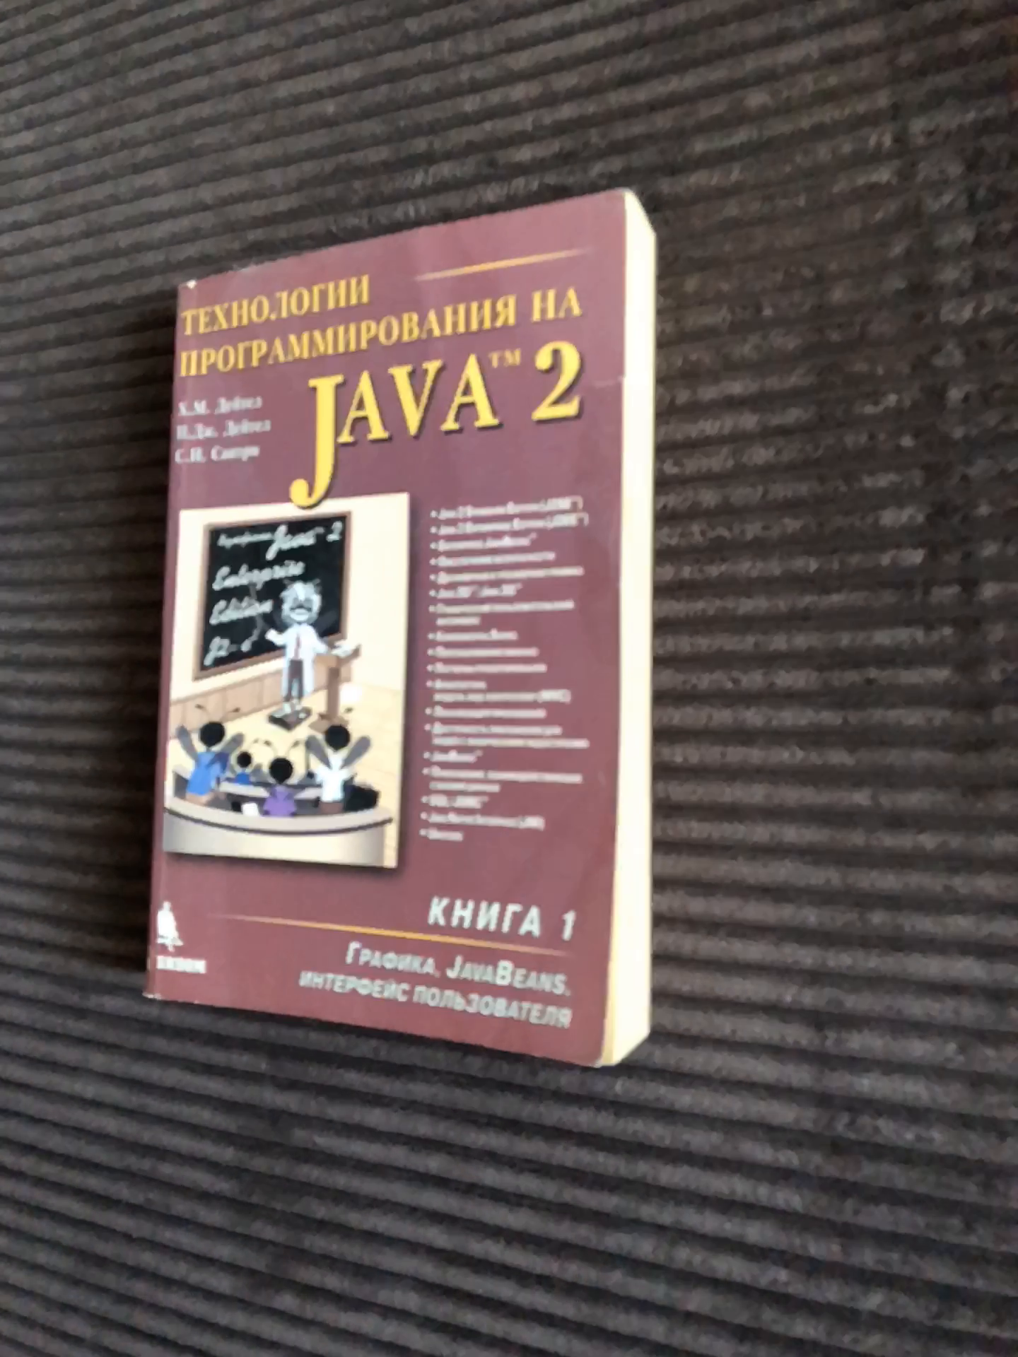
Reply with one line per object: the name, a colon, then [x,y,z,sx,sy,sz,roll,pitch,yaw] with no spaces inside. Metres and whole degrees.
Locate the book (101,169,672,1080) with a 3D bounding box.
book: [-0.037,-0.015,0.345,0.166,0.050,0.240,-2,82,25]
